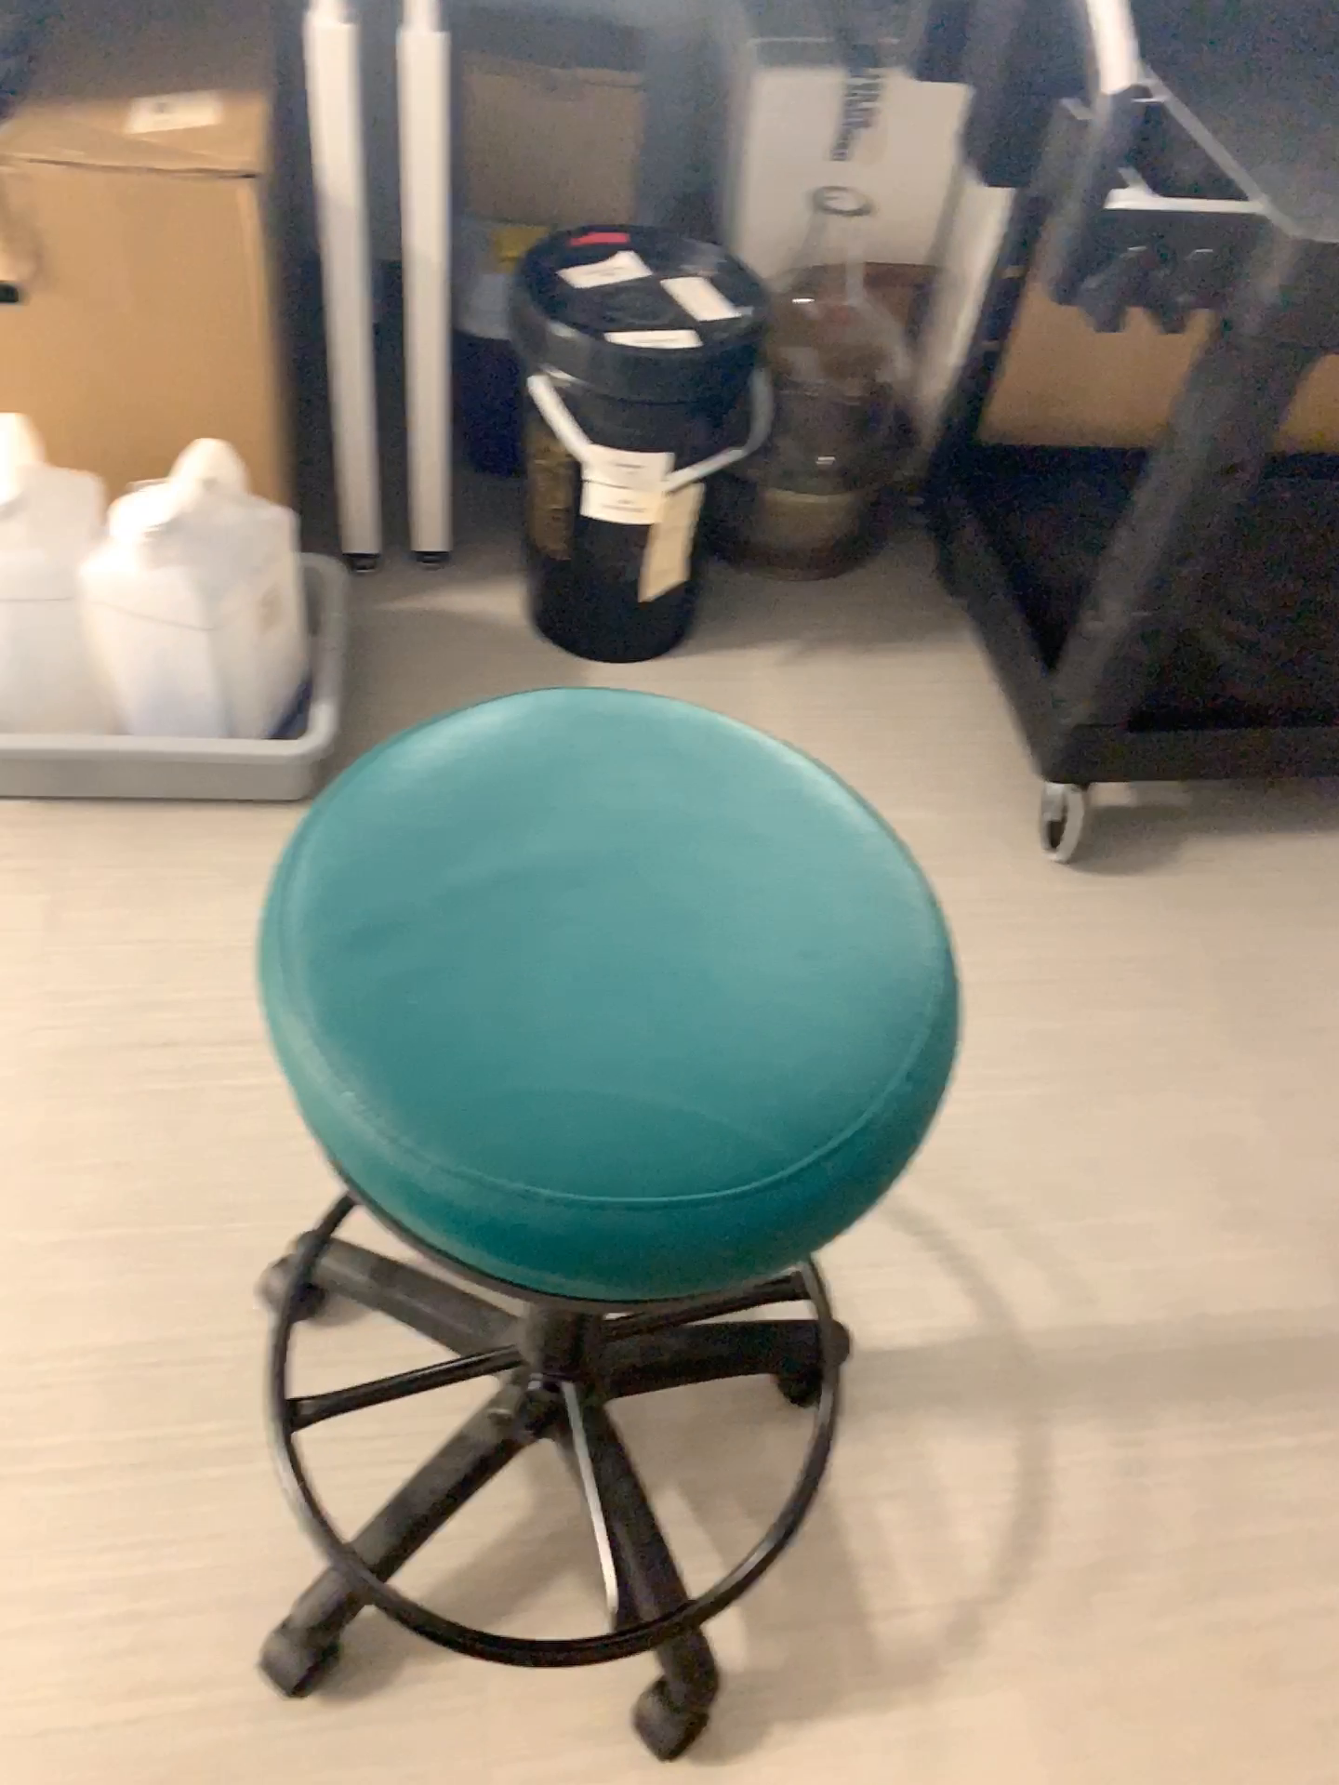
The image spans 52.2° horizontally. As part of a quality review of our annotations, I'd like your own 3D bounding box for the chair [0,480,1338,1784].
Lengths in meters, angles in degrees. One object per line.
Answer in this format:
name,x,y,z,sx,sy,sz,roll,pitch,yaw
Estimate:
chair,-0.089,0.234,0.925,0.592,0.654,0.593,-25,59,-27
